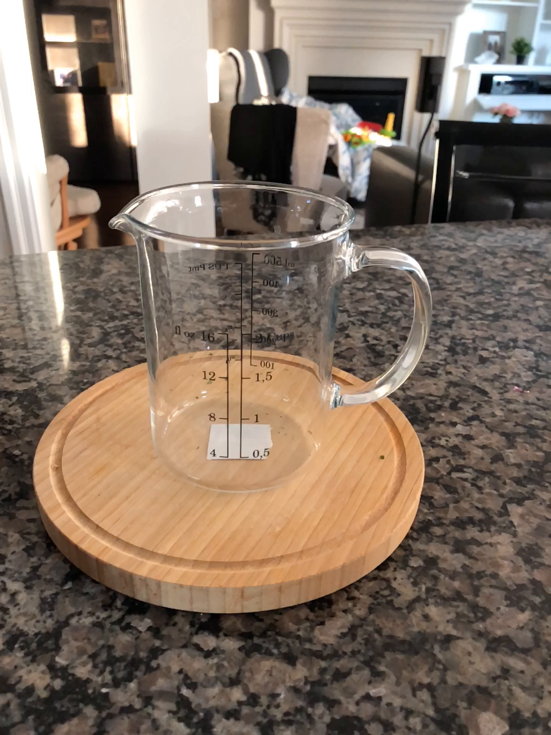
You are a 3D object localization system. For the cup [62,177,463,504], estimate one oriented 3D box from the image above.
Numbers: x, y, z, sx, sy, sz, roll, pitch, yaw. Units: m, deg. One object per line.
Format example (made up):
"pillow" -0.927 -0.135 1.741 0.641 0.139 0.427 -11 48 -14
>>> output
"cup" -0.008 -0.018 0.307 0.150 0.128 0.106 0 28 -3
